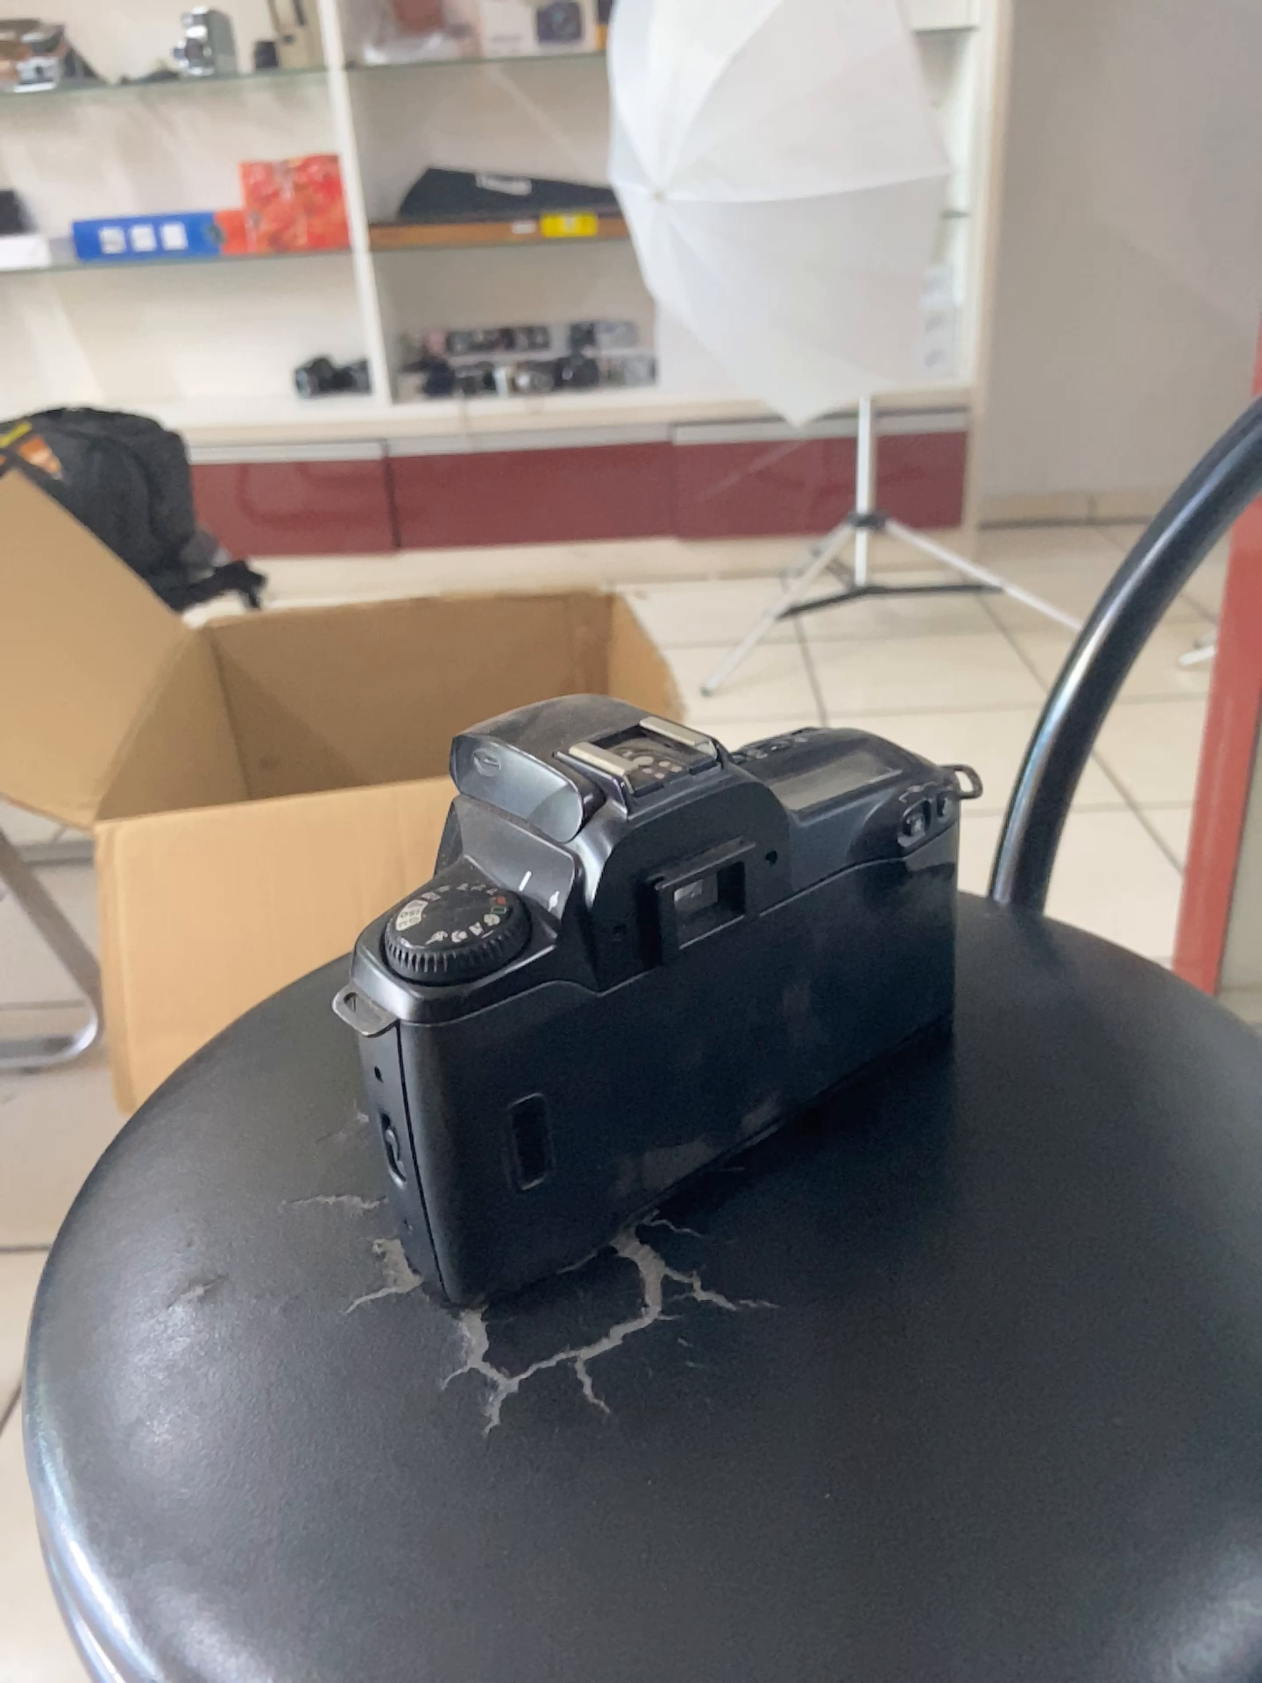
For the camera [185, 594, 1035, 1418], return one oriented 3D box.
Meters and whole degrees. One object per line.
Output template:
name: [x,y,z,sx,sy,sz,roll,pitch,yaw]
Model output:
camera: [0.004,0.018,0.254,0.140,0.089,0.070,-24,33,-34]
